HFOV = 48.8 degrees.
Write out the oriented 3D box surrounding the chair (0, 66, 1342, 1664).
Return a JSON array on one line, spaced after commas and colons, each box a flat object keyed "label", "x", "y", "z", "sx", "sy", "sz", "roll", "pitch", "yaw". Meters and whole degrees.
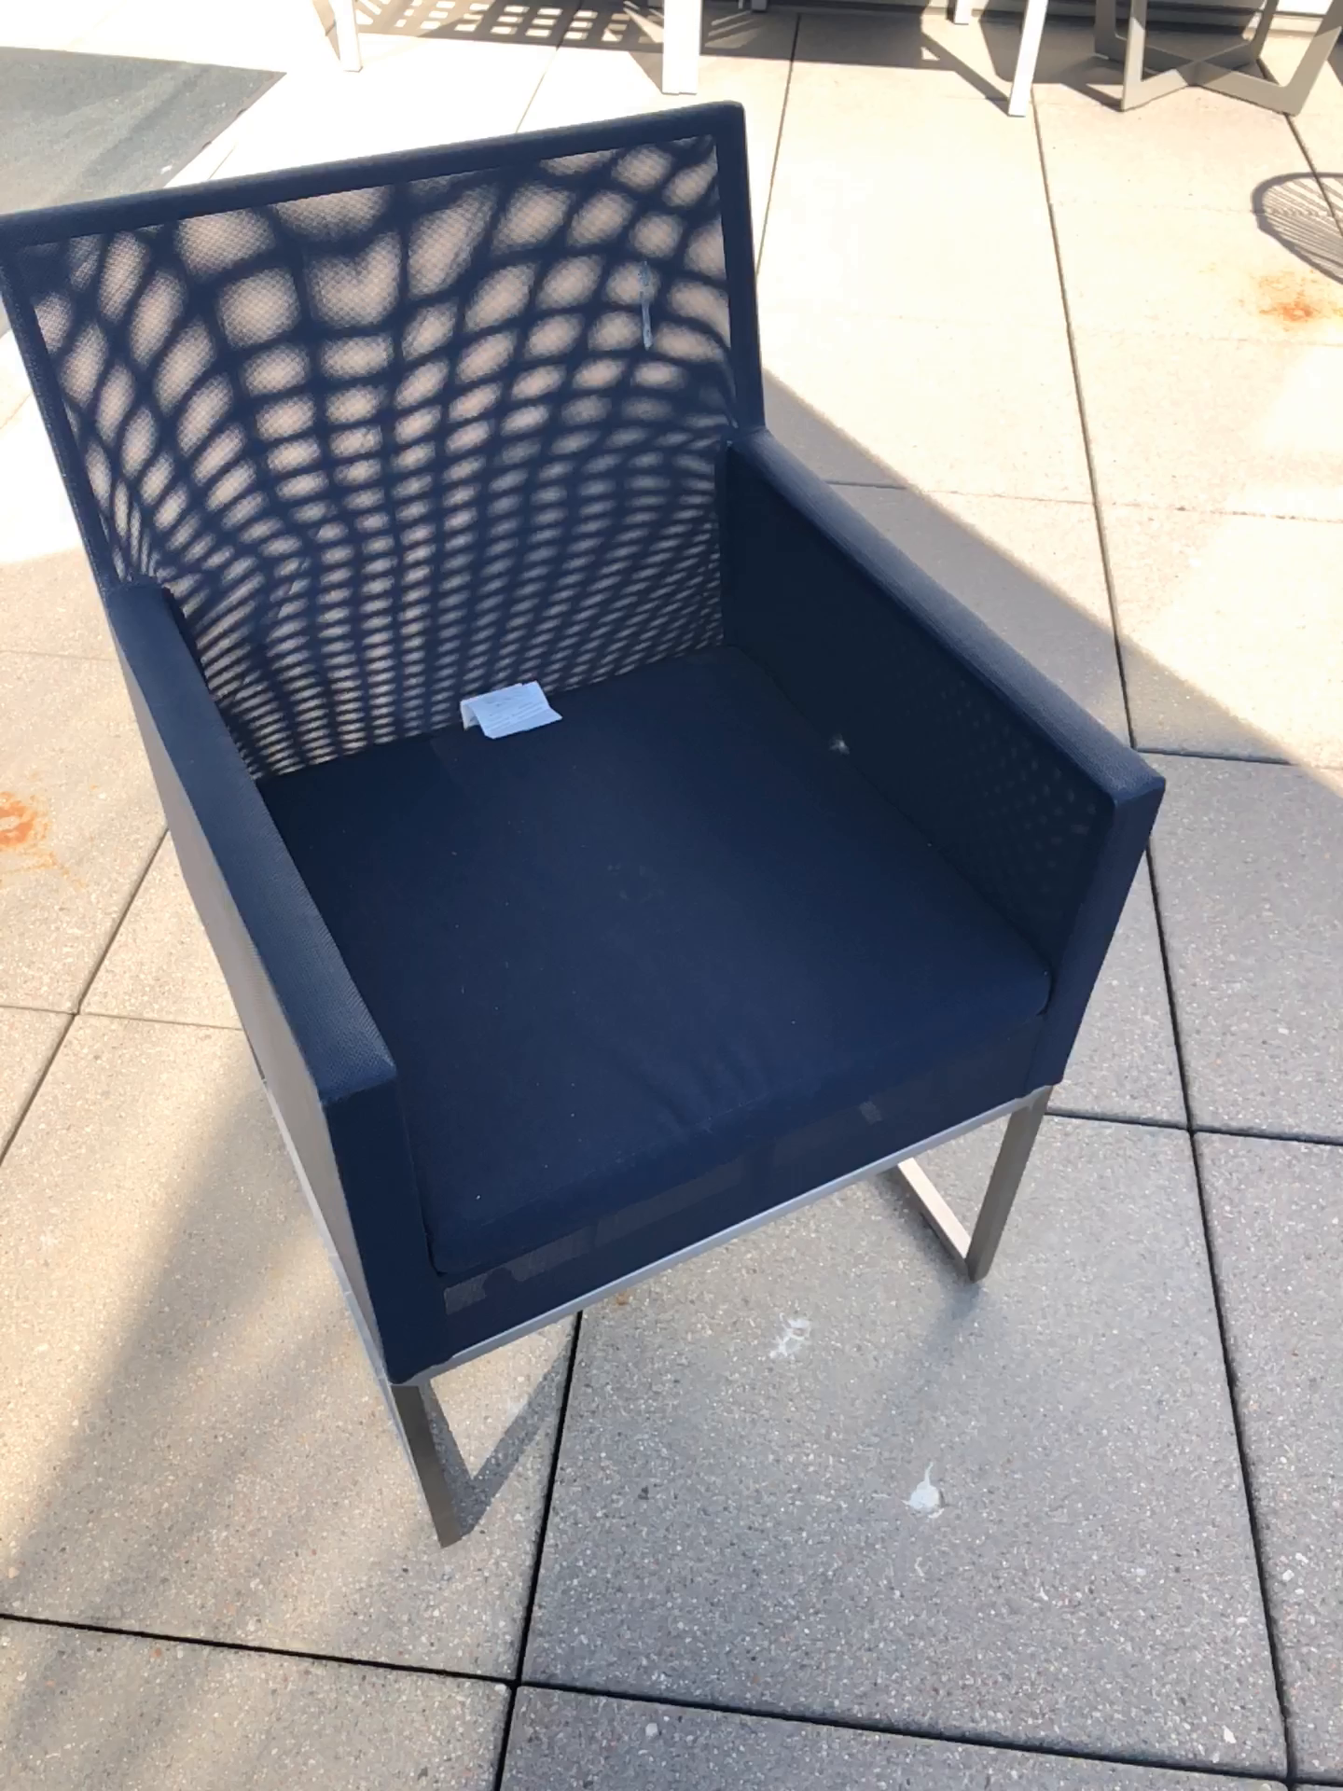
[{"label": "chair", "x": -0.038, "y": -0.040, "z": 1.088, "sx": 0.650, "sy": 0.777, "sz": 0.673, "roll": -18, "pitch": 49, "yaw": -19}]
